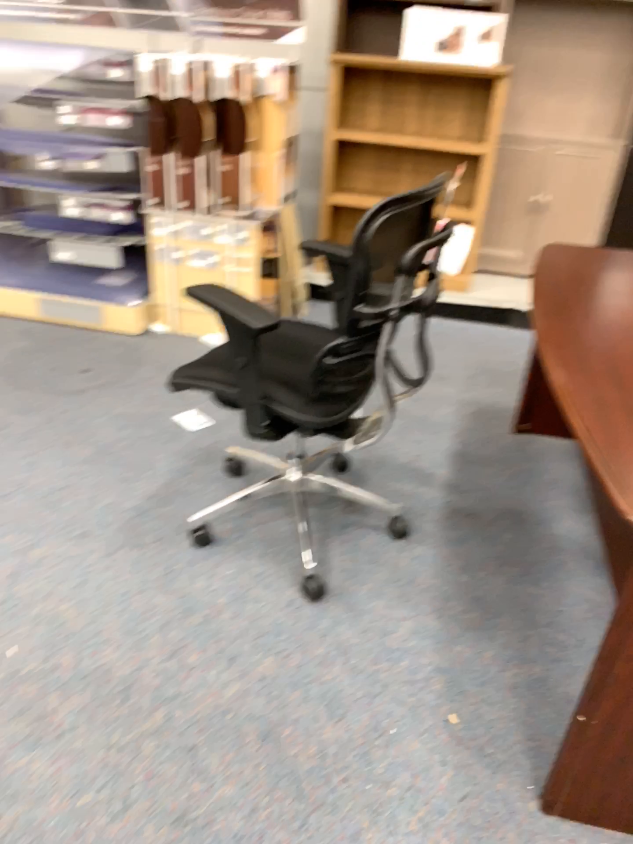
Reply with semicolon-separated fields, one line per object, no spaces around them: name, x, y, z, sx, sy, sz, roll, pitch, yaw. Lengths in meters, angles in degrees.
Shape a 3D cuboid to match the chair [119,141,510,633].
chair;0.018;-0.149;1.739;0.685;0.983;0.700;14;31;18
